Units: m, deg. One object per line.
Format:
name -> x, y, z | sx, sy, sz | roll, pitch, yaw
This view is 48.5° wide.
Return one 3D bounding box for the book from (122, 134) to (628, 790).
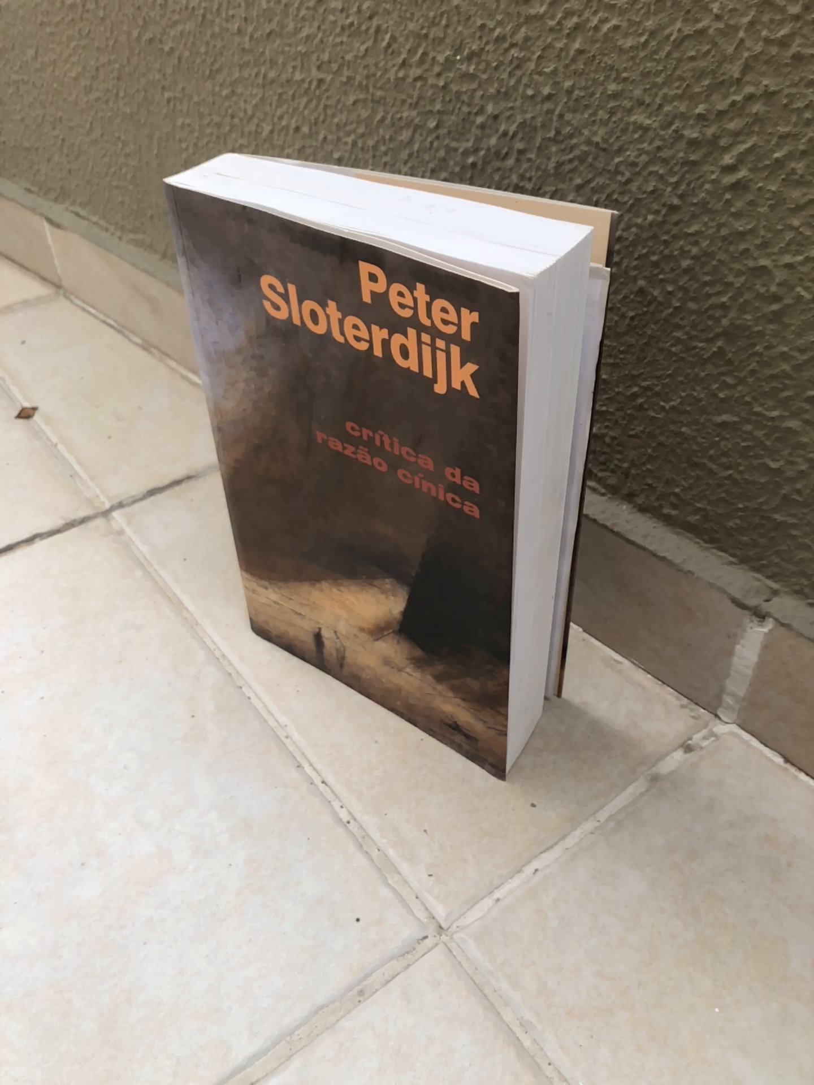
book -> -0.013, -0.028, 0.363 | 0.166, 0.220, 0.058 | 25, 47, 30
